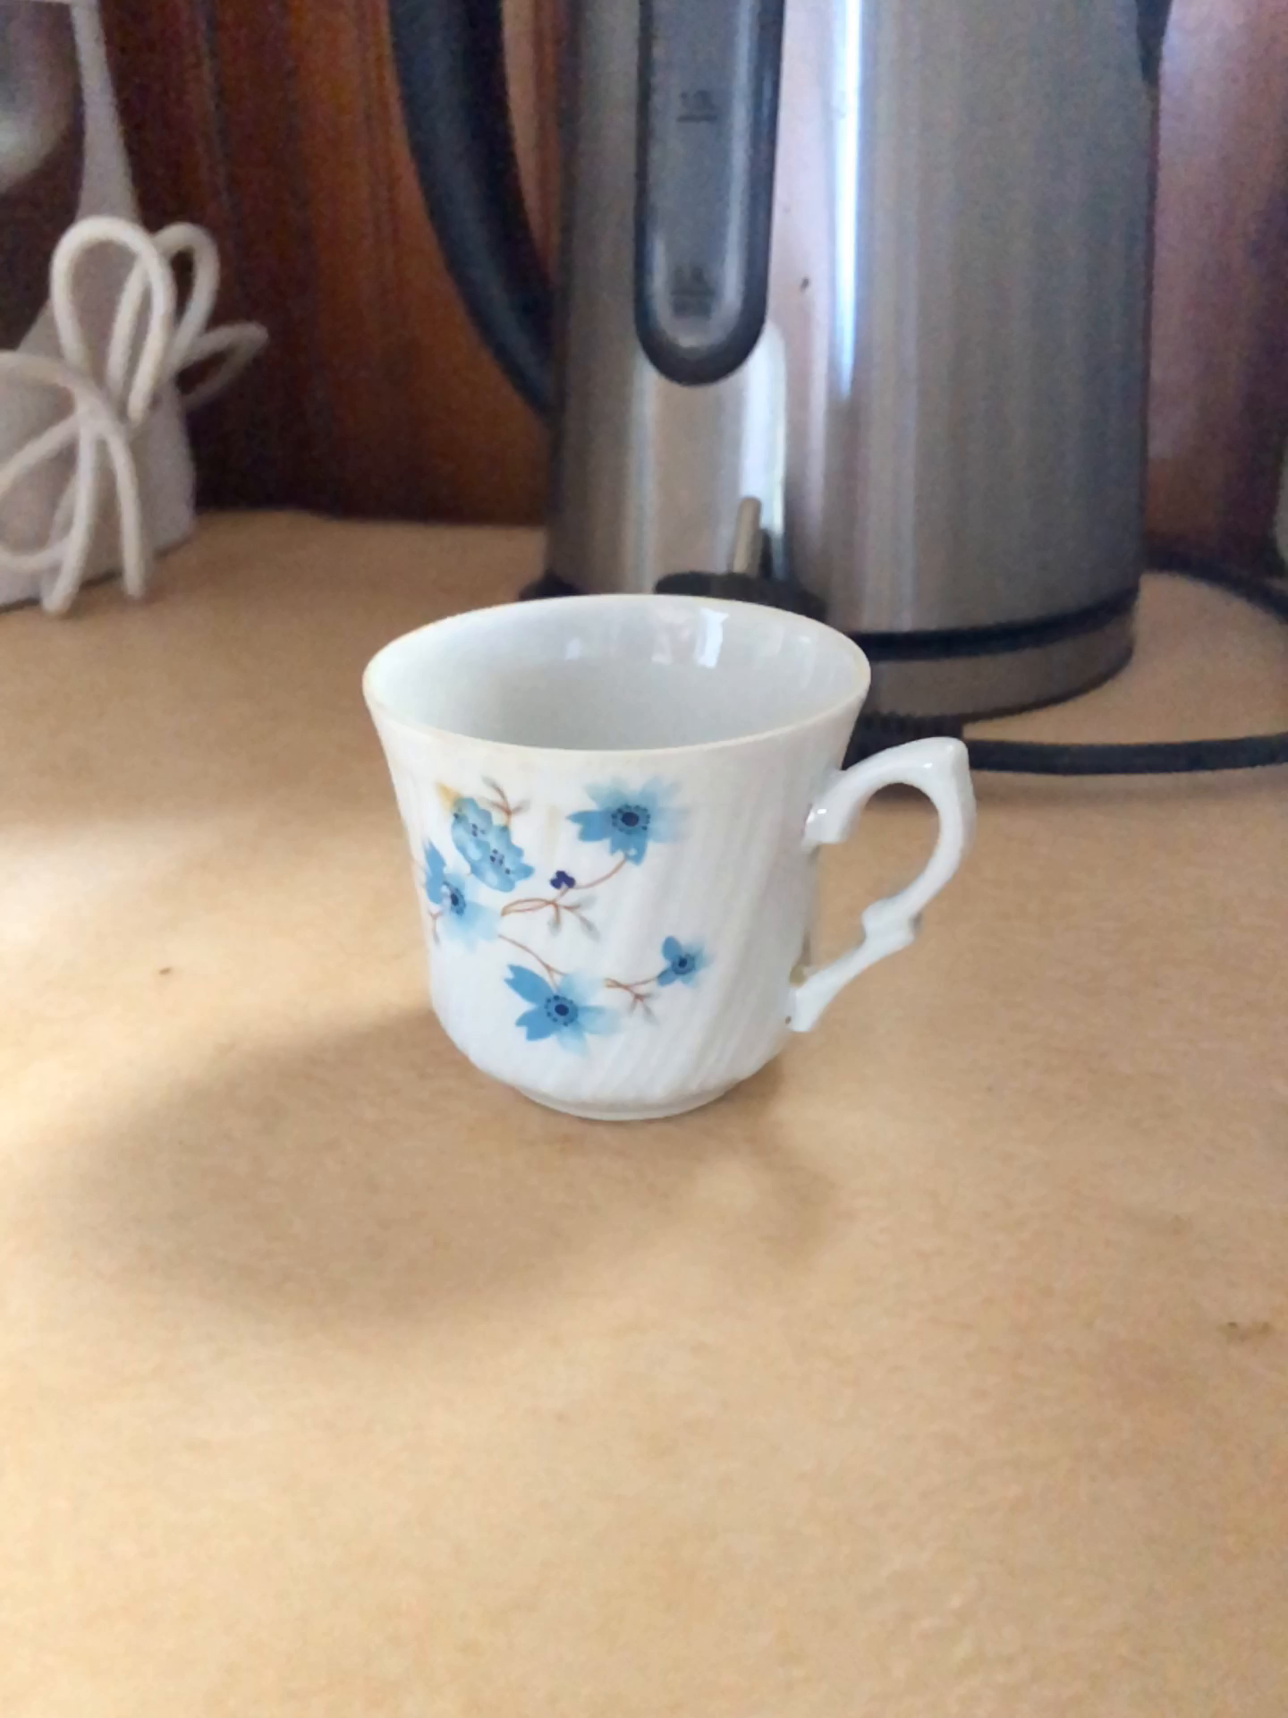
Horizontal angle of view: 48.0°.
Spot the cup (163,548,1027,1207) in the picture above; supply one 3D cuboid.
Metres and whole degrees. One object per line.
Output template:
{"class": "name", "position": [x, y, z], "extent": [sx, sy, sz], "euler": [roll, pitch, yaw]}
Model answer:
{"class": "cup", "position": [-0.003, -0.006, 0.199], "extent": [0.090, 0.050, 0.070], "euler": [12, 29, 25]}
